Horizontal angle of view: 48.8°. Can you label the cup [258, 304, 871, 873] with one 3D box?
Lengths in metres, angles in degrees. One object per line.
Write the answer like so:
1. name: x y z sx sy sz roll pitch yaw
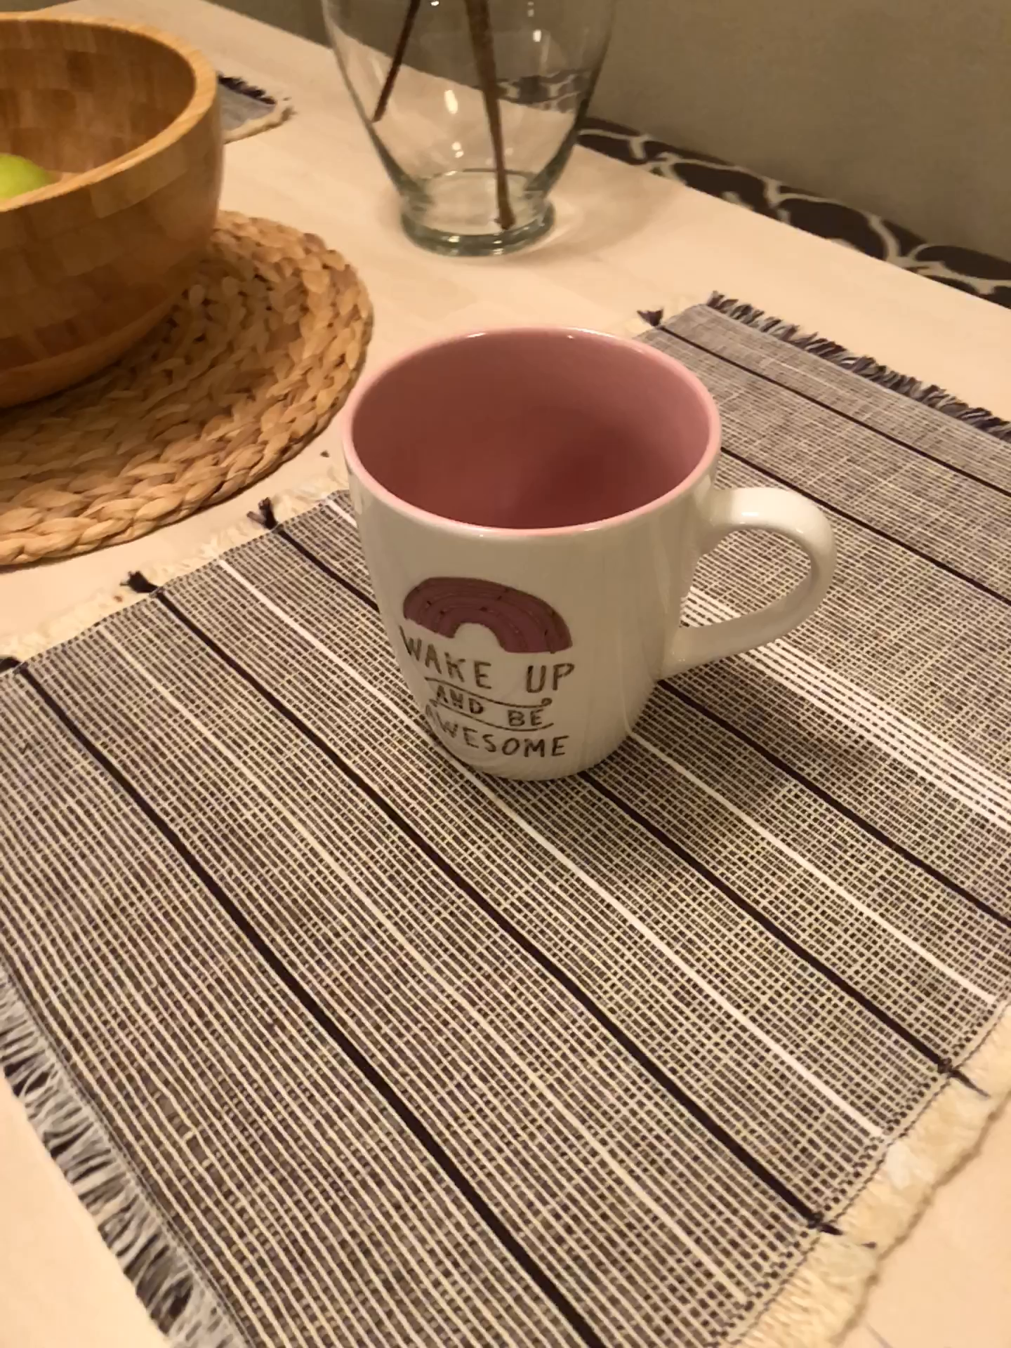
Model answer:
1. cup: 0.026 -0.032 0.370 0.160 0.119 0.121 8 46 10
